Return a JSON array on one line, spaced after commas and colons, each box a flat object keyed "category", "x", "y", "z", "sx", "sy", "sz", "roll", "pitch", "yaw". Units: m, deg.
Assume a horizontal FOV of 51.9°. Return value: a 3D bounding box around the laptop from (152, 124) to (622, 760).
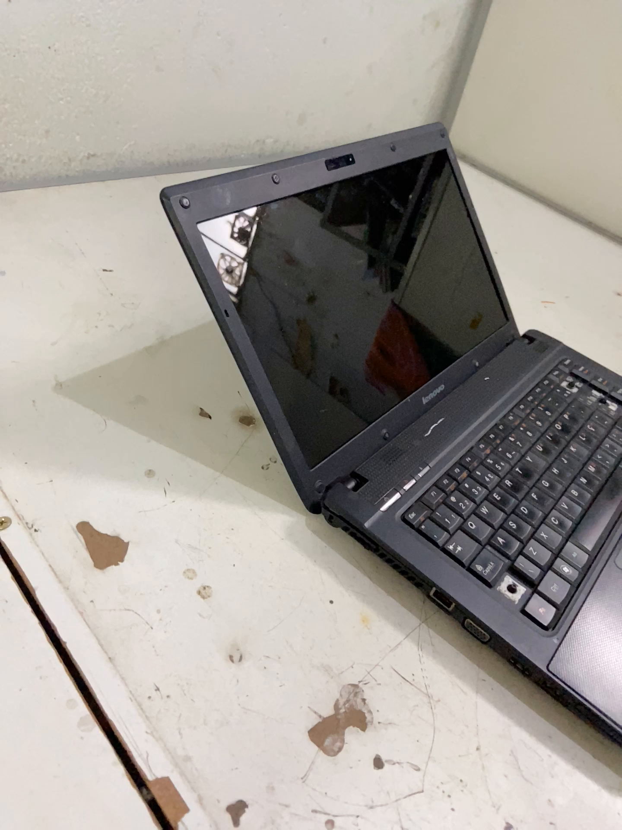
[{"category": "laptop", "x": 0.160, "y": -0.056, "z": 0.498, "sx": 0.422, "sy": 0.147, "sz": 0.359, "roll": 36, "pitch": 44, "yaw": 23}]
